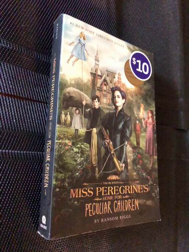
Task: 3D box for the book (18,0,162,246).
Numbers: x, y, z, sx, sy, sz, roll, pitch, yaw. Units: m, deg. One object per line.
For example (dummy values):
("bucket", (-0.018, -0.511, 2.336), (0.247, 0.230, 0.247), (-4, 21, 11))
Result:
("book", (0.010, -0.004, 0.253), (0.160, 0.050, 0.230), (10, 79, -35))
